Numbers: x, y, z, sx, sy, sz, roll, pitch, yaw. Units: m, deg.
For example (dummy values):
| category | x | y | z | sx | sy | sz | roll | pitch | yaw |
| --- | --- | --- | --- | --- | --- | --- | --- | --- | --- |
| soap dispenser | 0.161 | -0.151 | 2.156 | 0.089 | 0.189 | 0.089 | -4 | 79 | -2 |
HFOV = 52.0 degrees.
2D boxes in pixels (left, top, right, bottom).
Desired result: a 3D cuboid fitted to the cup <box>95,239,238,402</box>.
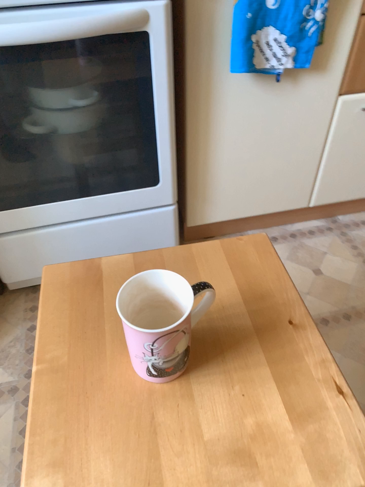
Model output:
| category | x | y | z | sx | sy | sz | roll | pitch | yaw |
| --- | --- | --- | --- | --- | --- | --- | --- | --- | --- |
| cup | -0.014 | 0.078 | 0.390 | 0.114 | 0.107 | 0.075 | -27 | 49 | -25 |
